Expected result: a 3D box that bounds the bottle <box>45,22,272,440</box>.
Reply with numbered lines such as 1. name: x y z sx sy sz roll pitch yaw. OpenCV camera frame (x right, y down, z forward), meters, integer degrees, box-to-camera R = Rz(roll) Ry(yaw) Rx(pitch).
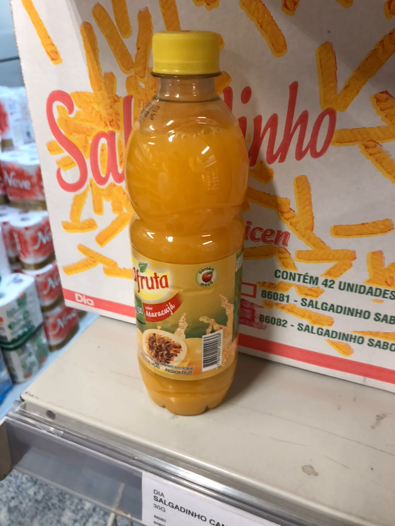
1. bottle: -0.013 -0.011 0.231 0.070 0.198 0.060 21 38 32
